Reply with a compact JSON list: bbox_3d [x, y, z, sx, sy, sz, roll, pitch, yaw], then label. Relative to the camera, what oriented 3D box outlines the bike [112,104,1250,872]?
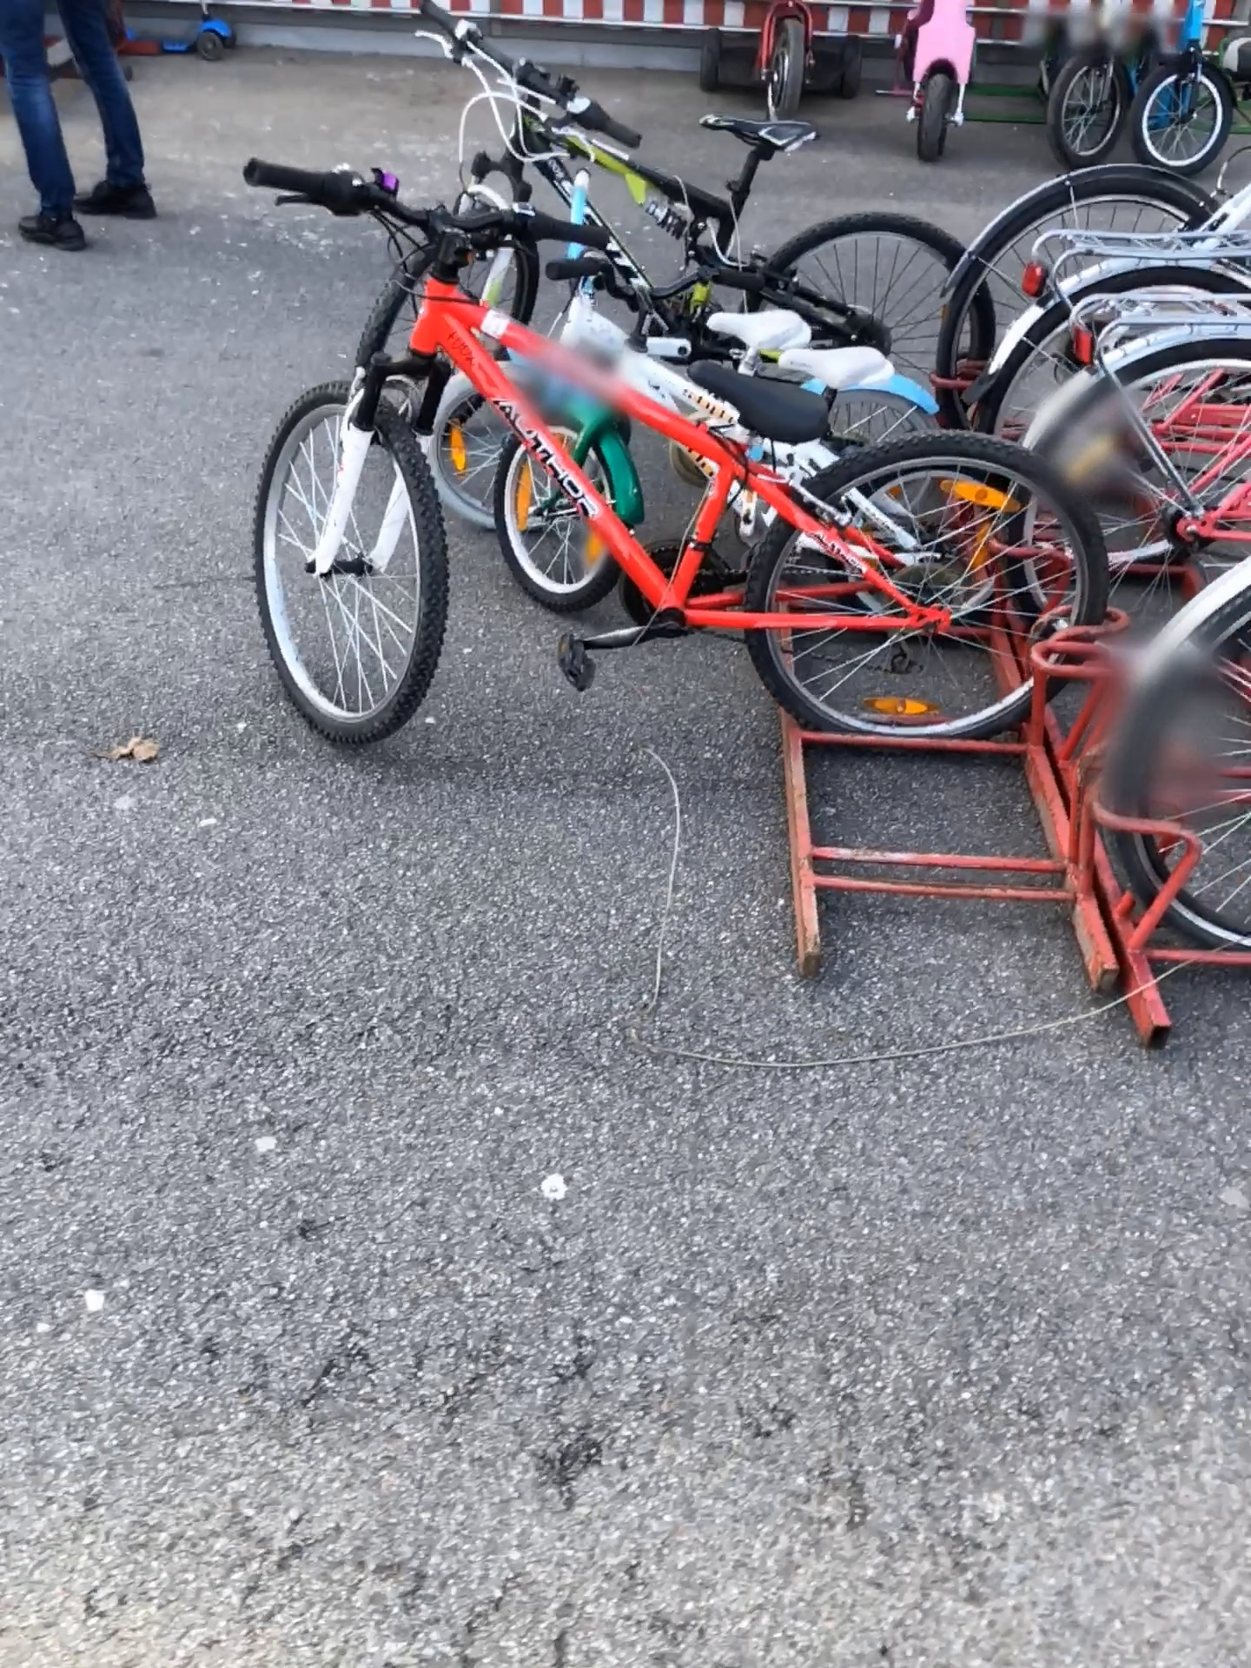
[{"bbox_3d":[0.058,-0.559,2.169,1.444,0.908,0.554,8,41,8],"label":"bike"}]
